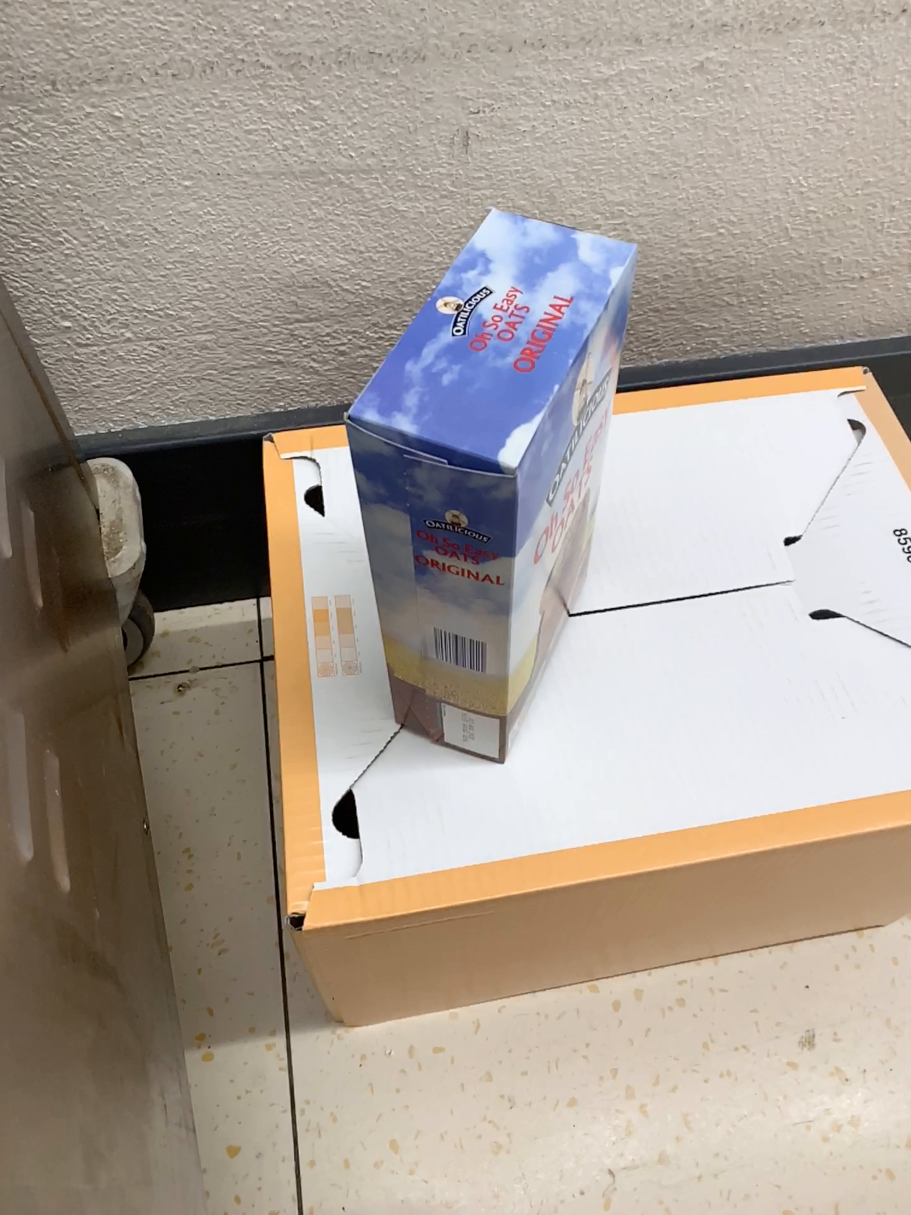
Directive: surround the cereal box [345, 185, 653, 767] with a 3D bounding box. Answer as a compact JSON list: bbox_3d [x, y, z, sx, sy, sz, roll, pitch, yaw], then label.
[{"bbox_3d":[0.021,-0.042,0.409,0.060,0.218,0.131,20,59,14],"label":"cereal box"}]
